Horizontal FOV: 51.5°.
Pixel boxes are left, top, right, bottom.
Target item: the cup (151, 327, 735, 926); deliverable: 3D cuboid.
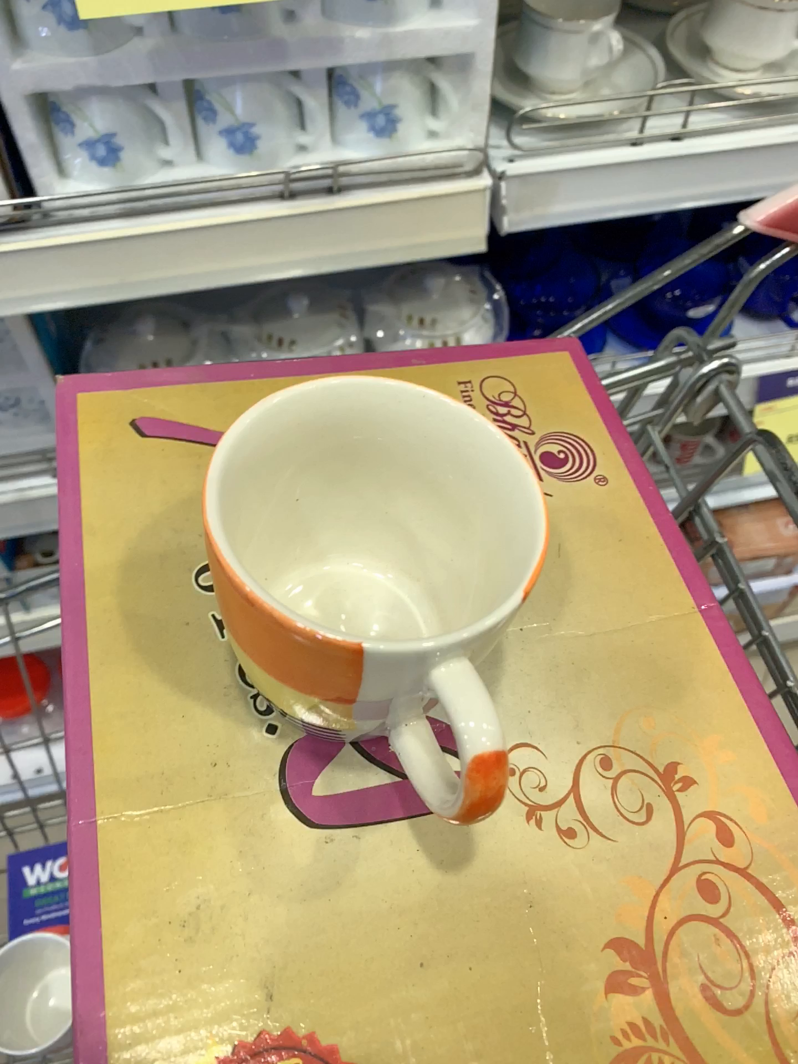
[{"bbox_3d":[0.000,0.017,0.182,0.080,0.070,0.090,-15,57,-20],"label":"cup"}]
